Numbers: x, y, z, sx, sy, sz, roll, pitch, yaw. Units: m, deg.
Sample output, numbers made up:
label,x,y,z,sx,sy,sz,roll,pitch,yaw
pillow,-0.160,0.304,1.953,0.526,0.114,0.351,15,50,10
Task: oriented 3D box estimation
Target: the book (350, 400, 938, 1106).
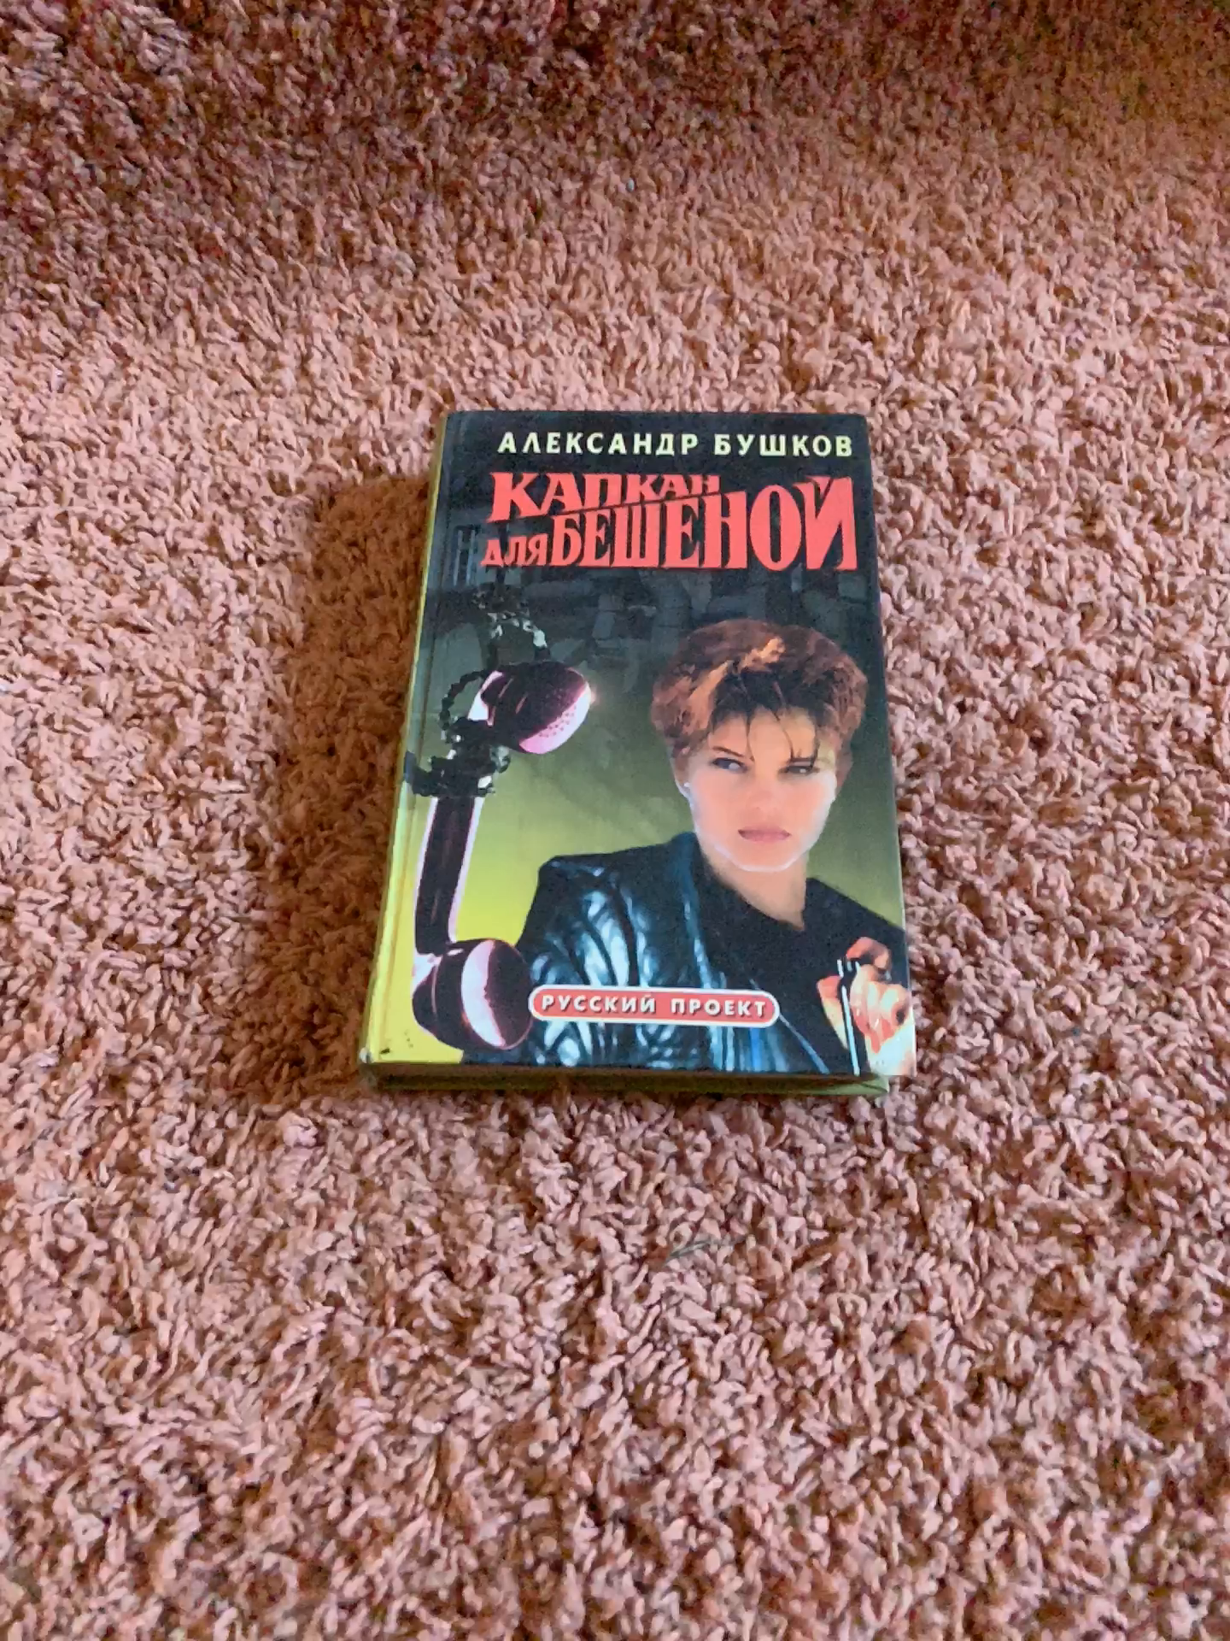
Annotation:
label,x,y,z,sx,sy,sz,roll,pitch,yaw
book,0.009,-0.027,0.323,0.124,0.027,0.191,1,63,2
